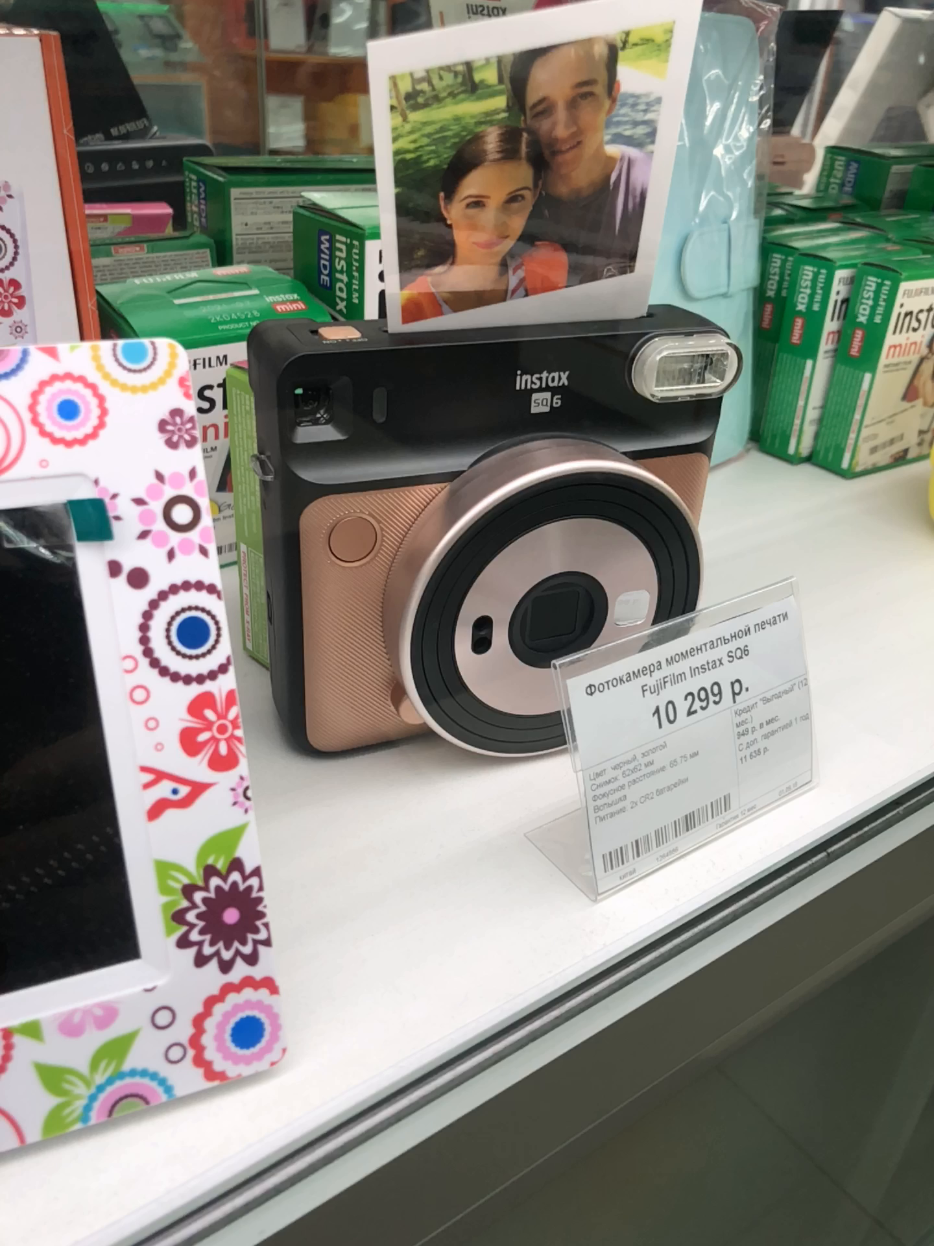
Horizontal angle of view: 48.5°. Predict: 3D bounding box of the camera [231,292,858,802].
[{"bbox_3d":[0.016,-0.026,0.277,0.140,0.104,0.060,-9,33,-21],"label":"camera"}]
